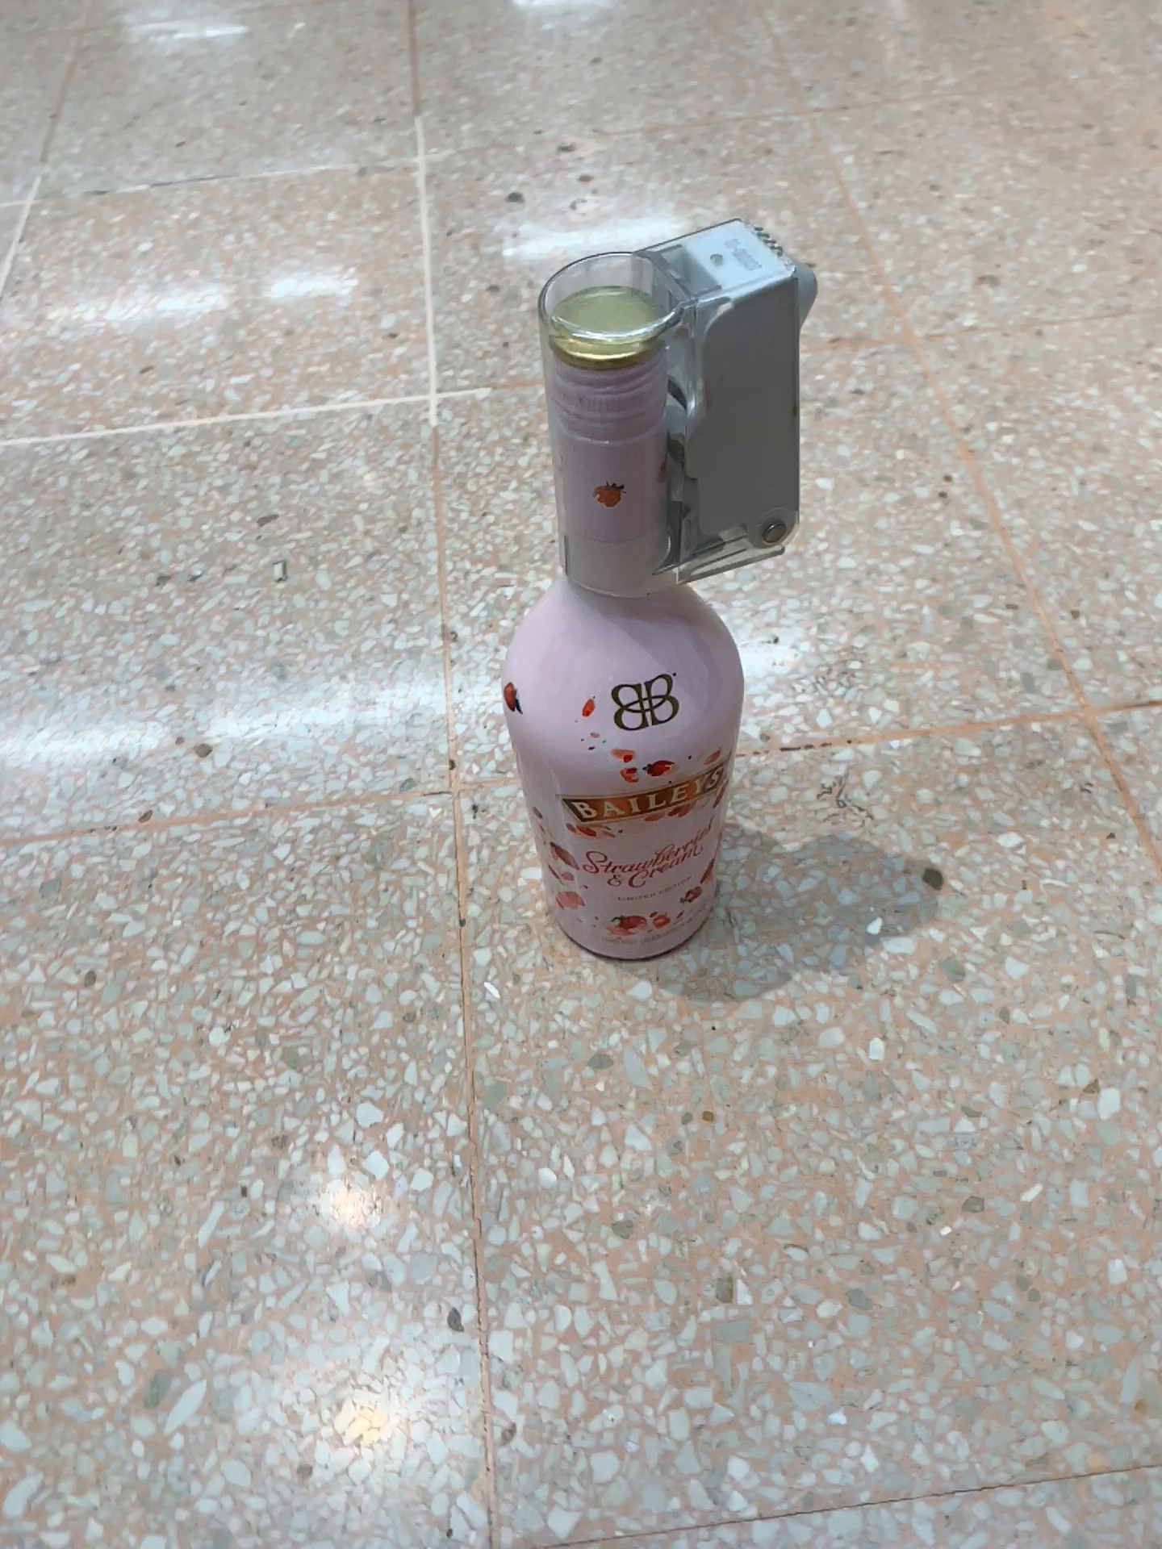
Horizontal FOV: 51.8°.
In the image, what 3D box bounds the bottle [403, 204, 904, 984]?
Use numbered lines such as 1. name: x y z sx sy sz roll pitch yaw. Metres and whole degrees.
1. bottle: 0.021 -0.034 0.387 0.103 0.254 0.073 -13 54 -5
